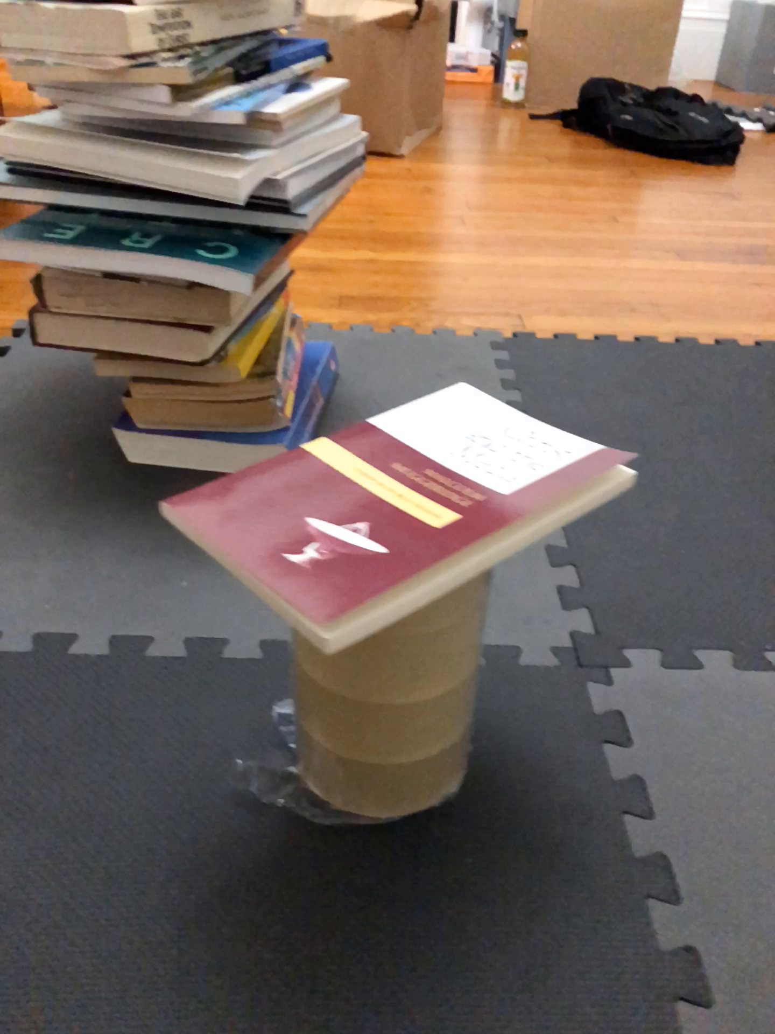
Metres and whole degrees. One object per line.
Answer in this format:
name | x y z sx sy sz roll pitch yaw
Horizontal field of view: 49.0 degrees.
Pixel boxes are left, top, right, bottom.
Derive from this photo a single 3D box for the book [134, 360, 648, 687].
book | 0.007 -0.015 0.418 0.211 0.020 0.140 -27 45 -34
